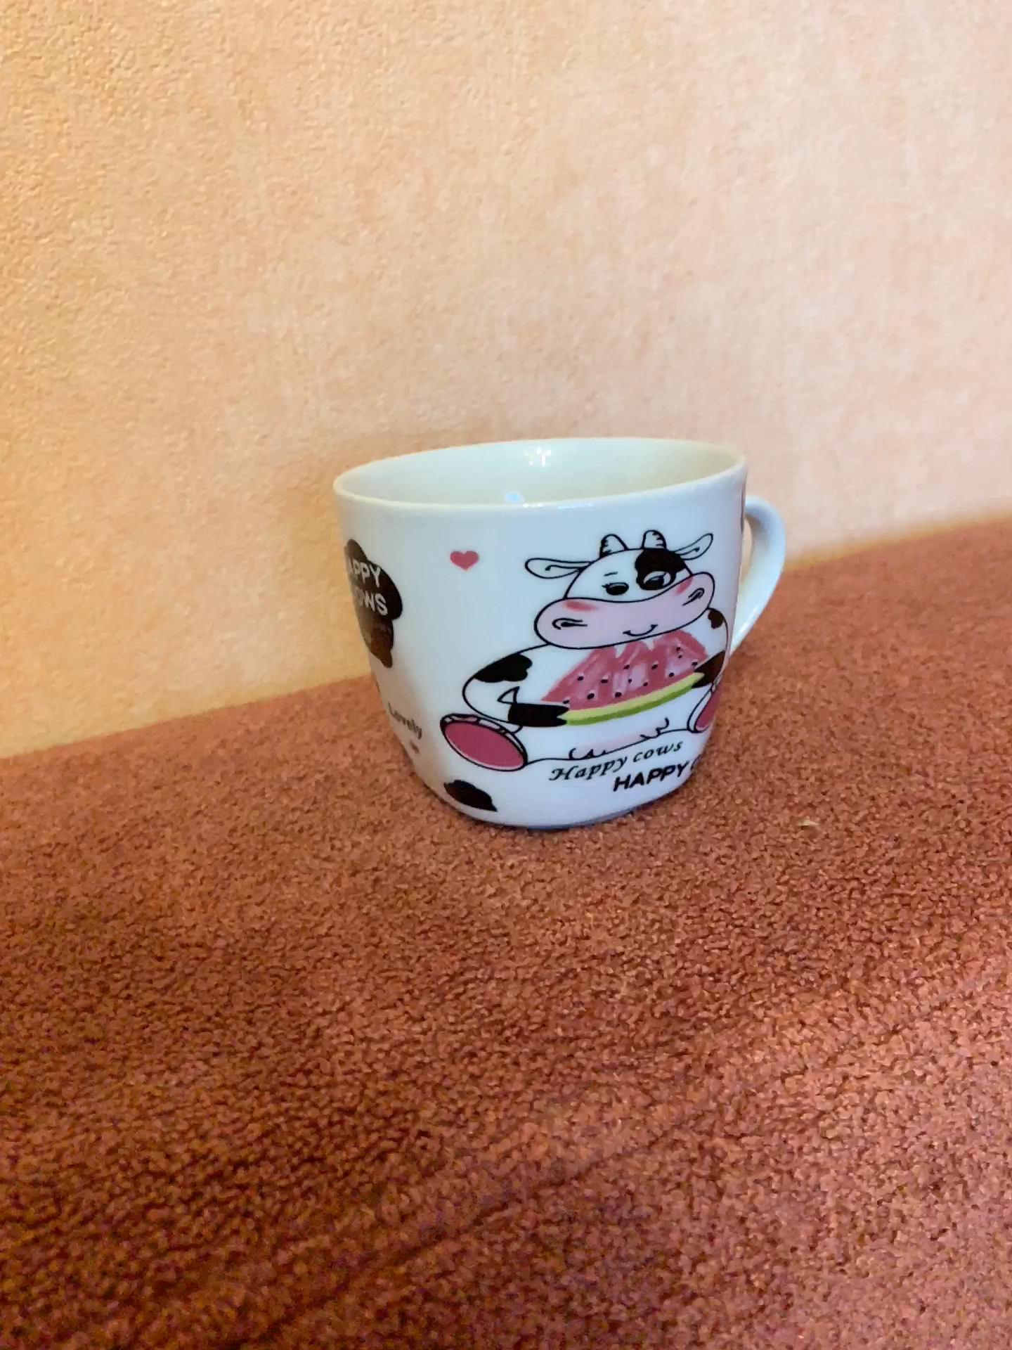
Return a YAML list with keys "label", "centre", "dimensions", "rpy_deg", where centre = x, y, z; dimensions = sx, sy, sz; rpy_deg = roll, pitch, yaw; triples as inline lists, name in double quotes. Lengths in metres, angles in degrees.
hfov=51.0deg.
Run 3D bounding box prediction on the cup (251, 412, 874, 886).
- label: "cup"
  centre: [0.007, -0.014, 0.213]
  dimensions: [0.094, 0.056, 0.079]
  rpy_deg: [-12, 23, -19]
